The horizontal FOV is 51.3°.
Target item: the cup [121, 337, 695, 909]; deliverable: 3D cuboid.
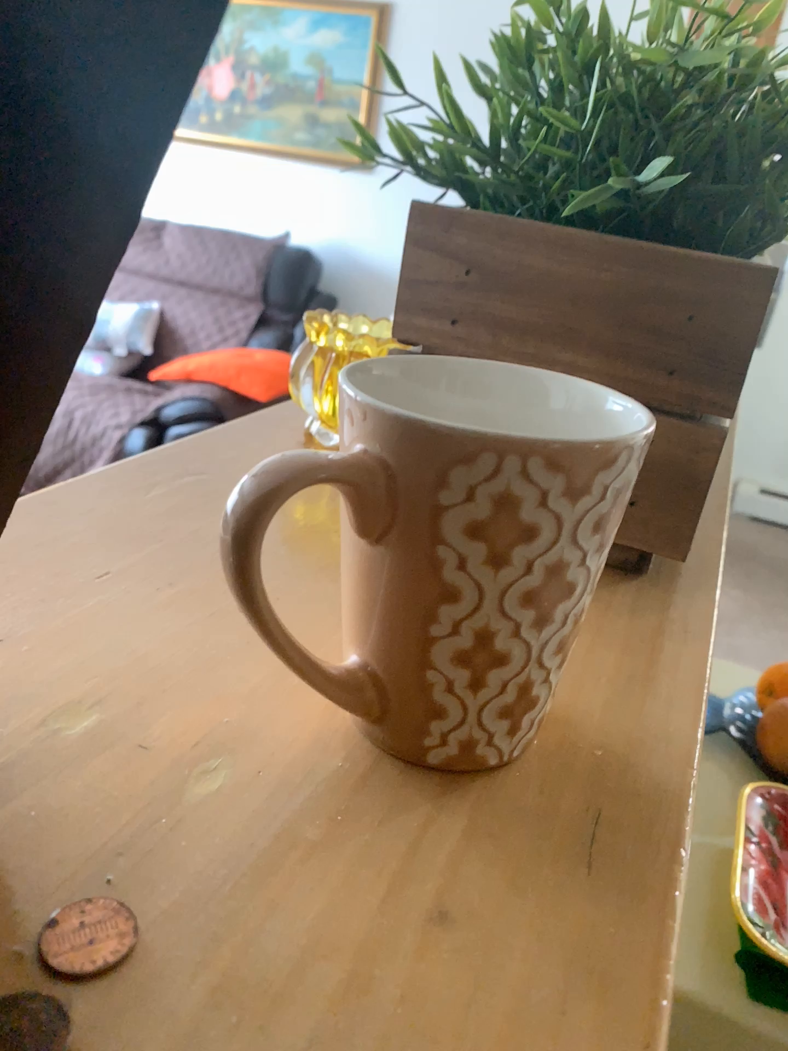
[{"bbox_3d":[-0.001,0.011,0.235,0.120,0.109,0.090,-10,29,-38],"label":"cup"}]
